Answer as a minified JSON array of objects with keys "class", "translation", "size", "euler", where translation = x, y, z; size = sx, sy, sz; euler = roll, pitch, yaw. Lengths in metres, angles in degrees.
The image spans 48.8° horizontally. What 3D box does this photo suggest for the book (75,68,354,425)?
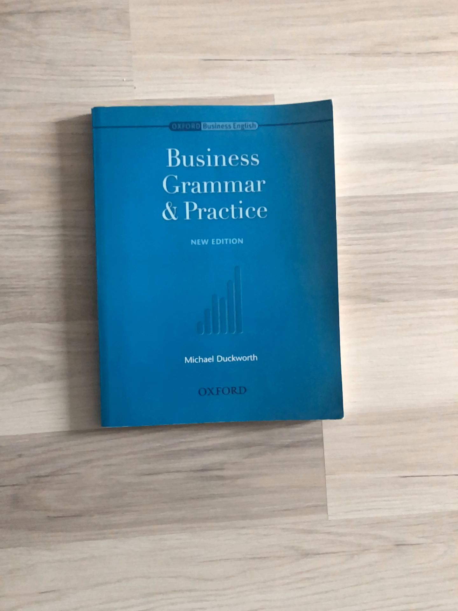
[{"class":"book","translation":[-0.012,-0.052,0.452],"size":[0.230,0.040,0.300],"euler":[-2,89,-3]}]
